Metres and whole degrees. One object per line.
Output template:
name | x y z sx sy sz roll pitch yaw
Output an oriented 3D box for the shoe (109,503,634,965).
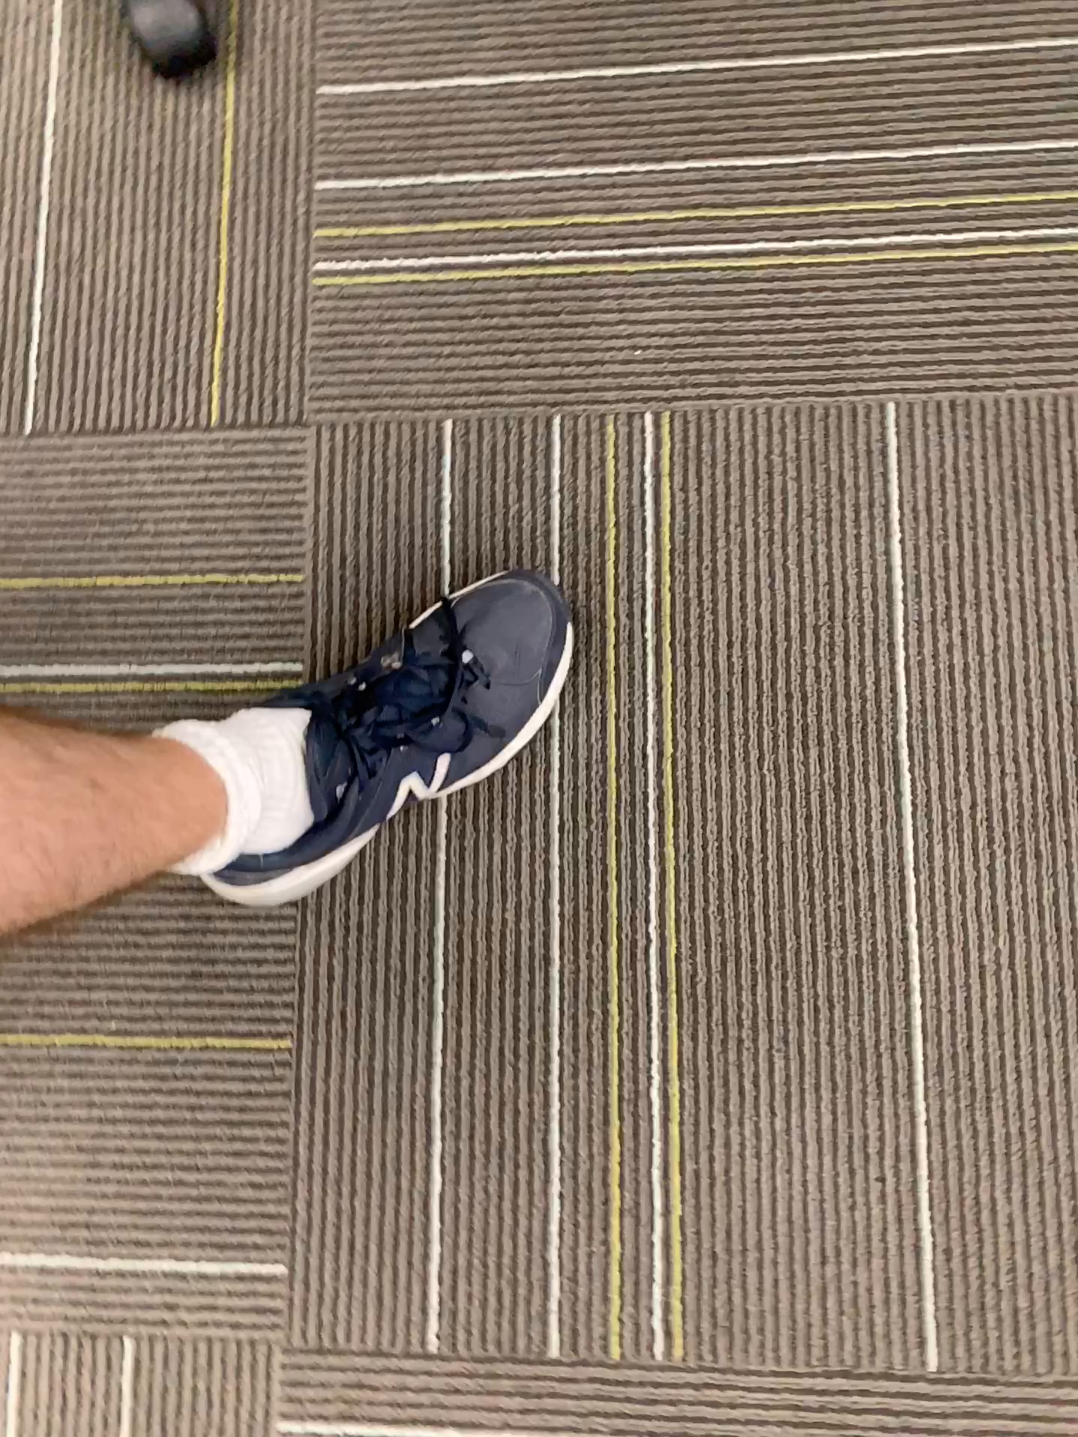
shoe | -0.103 0.012 0.715 0.310 0.070 0.130 -36 80 0
